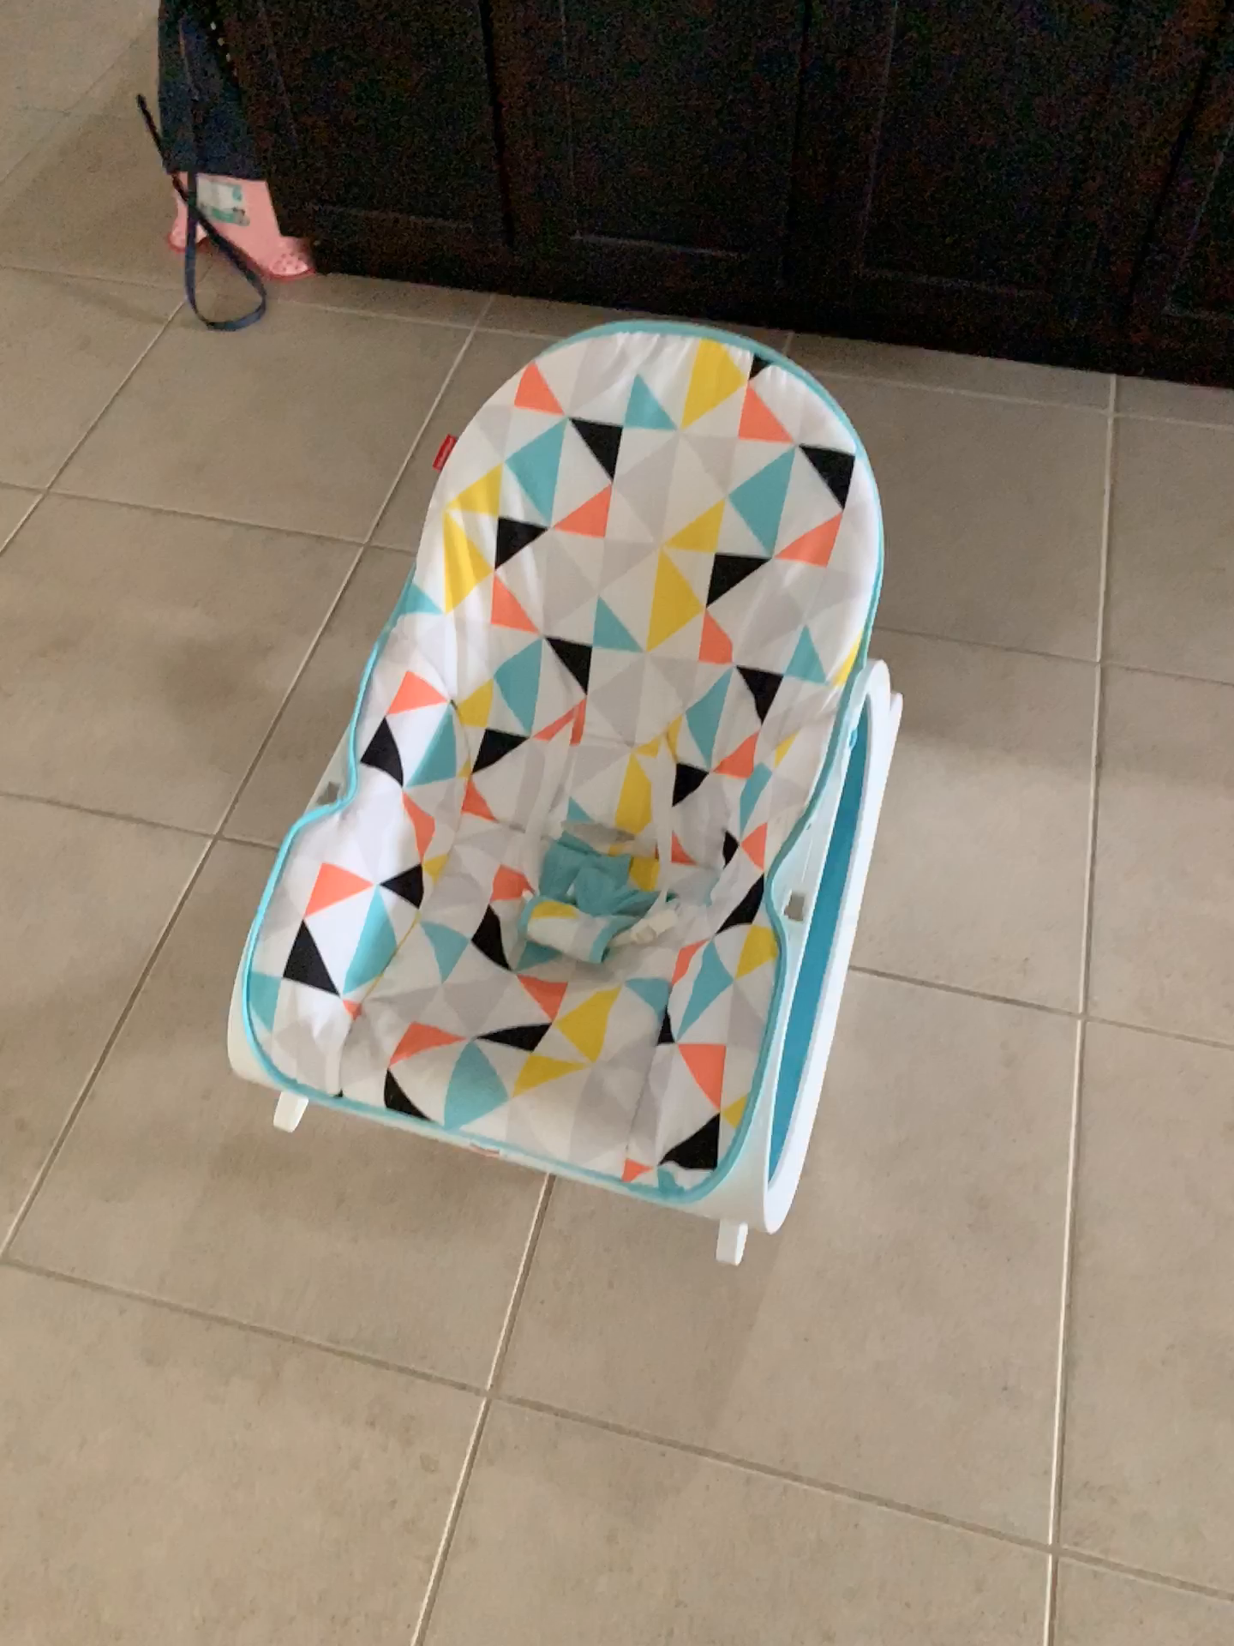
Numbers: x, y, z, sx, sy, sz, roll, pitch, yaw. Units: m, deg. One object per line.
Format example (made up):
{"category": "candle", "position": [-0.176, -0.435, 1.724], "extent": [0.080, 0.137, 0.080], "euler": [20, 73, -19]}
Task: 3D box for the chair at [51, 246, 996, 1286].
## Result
{"category": "chair", "position": [-0.007, -0.069, 1.169], "extent": [0.530, 0.486, 0.736], "euler": [12, 58, 10]}
